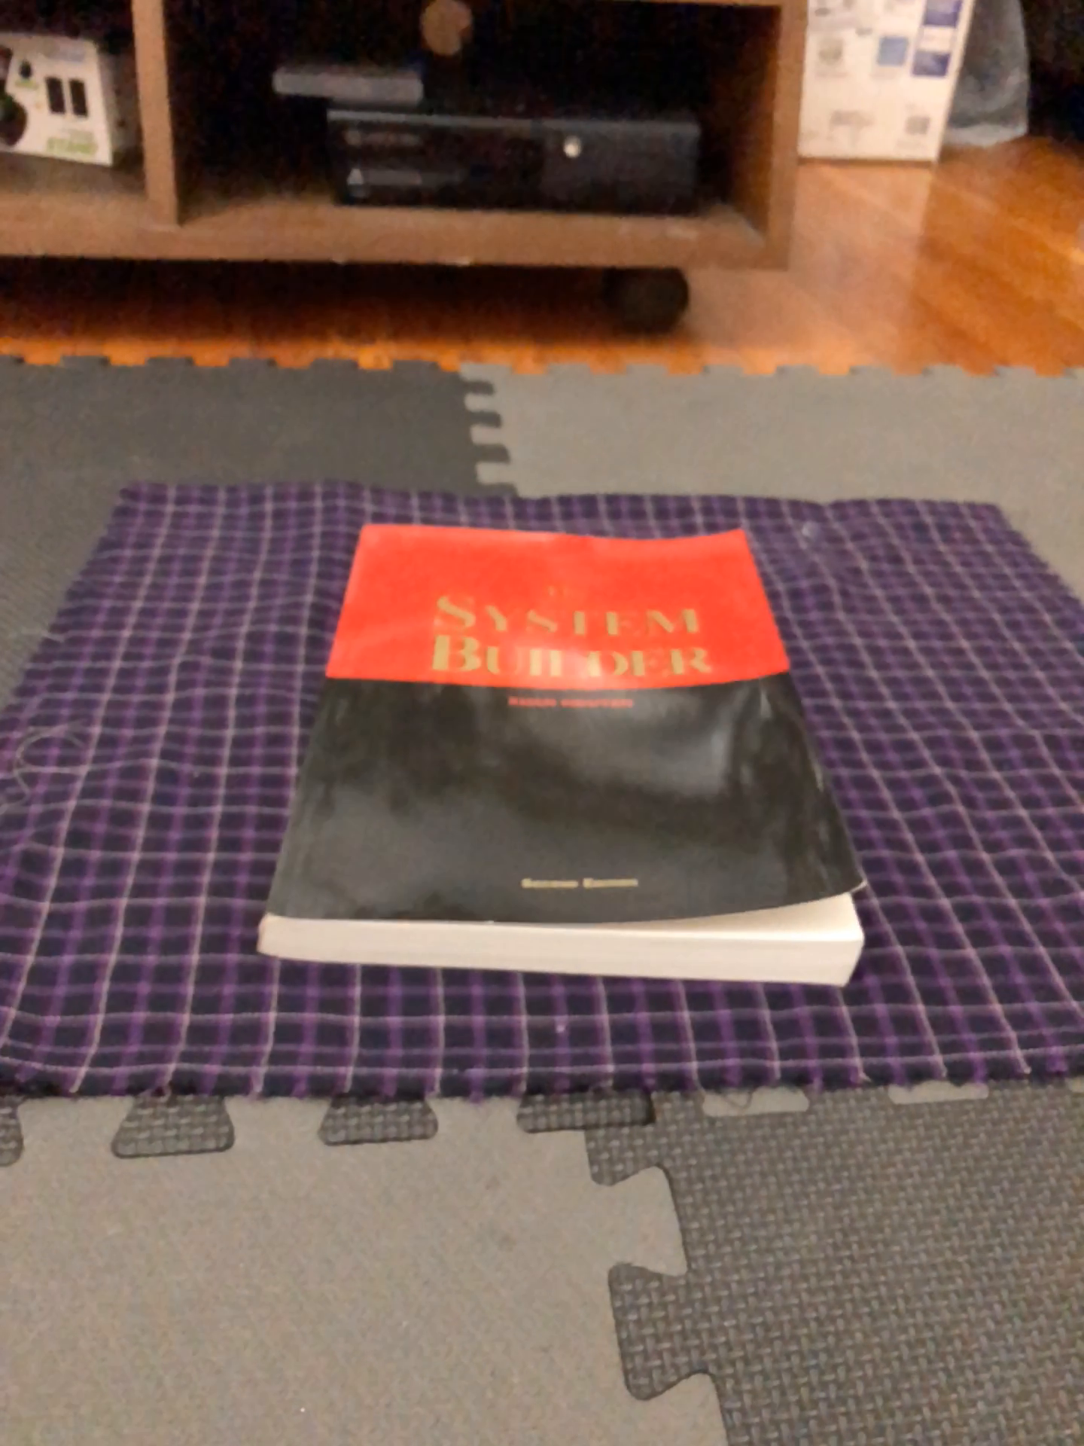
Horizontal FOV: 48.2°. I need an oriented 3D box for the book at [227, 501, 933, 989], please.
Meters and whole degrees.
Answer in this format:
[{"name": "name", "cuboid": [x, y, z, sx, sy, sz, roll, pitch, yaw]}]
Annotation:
[{"name": "book", "cuboid": [0.010, -0.011, 0.458, 0.200, 0.030, 0.261, 2, 35, -2]}]
